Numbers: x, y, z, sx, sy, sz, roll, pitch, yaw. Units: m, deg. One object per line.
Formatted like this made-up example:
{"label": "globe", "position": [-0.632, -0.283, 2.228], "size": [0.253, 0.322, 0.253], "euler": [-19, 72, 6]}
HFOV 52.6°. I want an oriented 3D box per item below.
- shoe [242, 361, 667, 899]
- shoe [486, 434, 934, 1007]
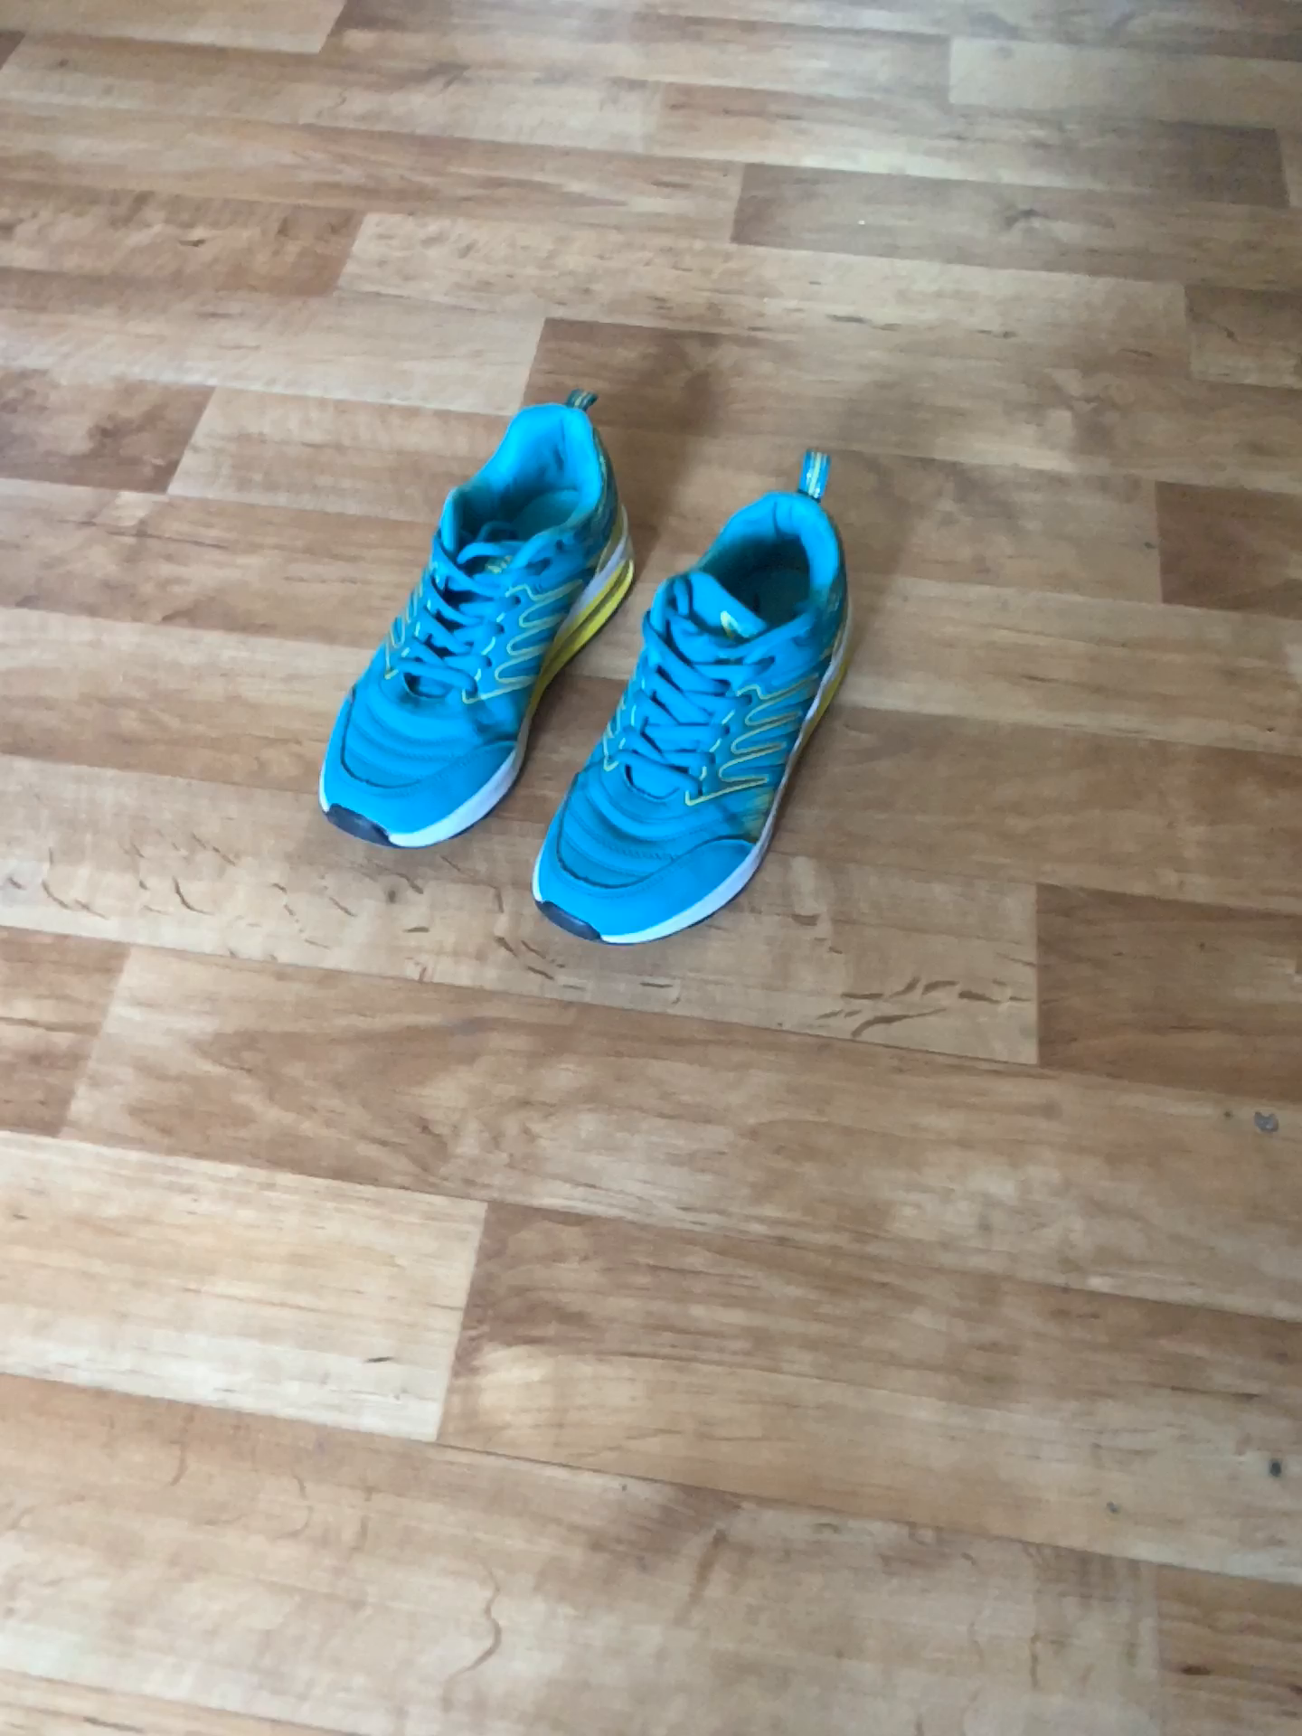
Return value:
{"label": "shoe", "position": [-0.089, -0.123, 0.670], "size": [0.100, 0.120, 0.230], "euler": [23, 62, 9]}
{"label": "shoe", "position": [0.032, -0.075, 0.645], "size": [0.100, 0.120, 0.240], "euler": [27, 63, 13]}
